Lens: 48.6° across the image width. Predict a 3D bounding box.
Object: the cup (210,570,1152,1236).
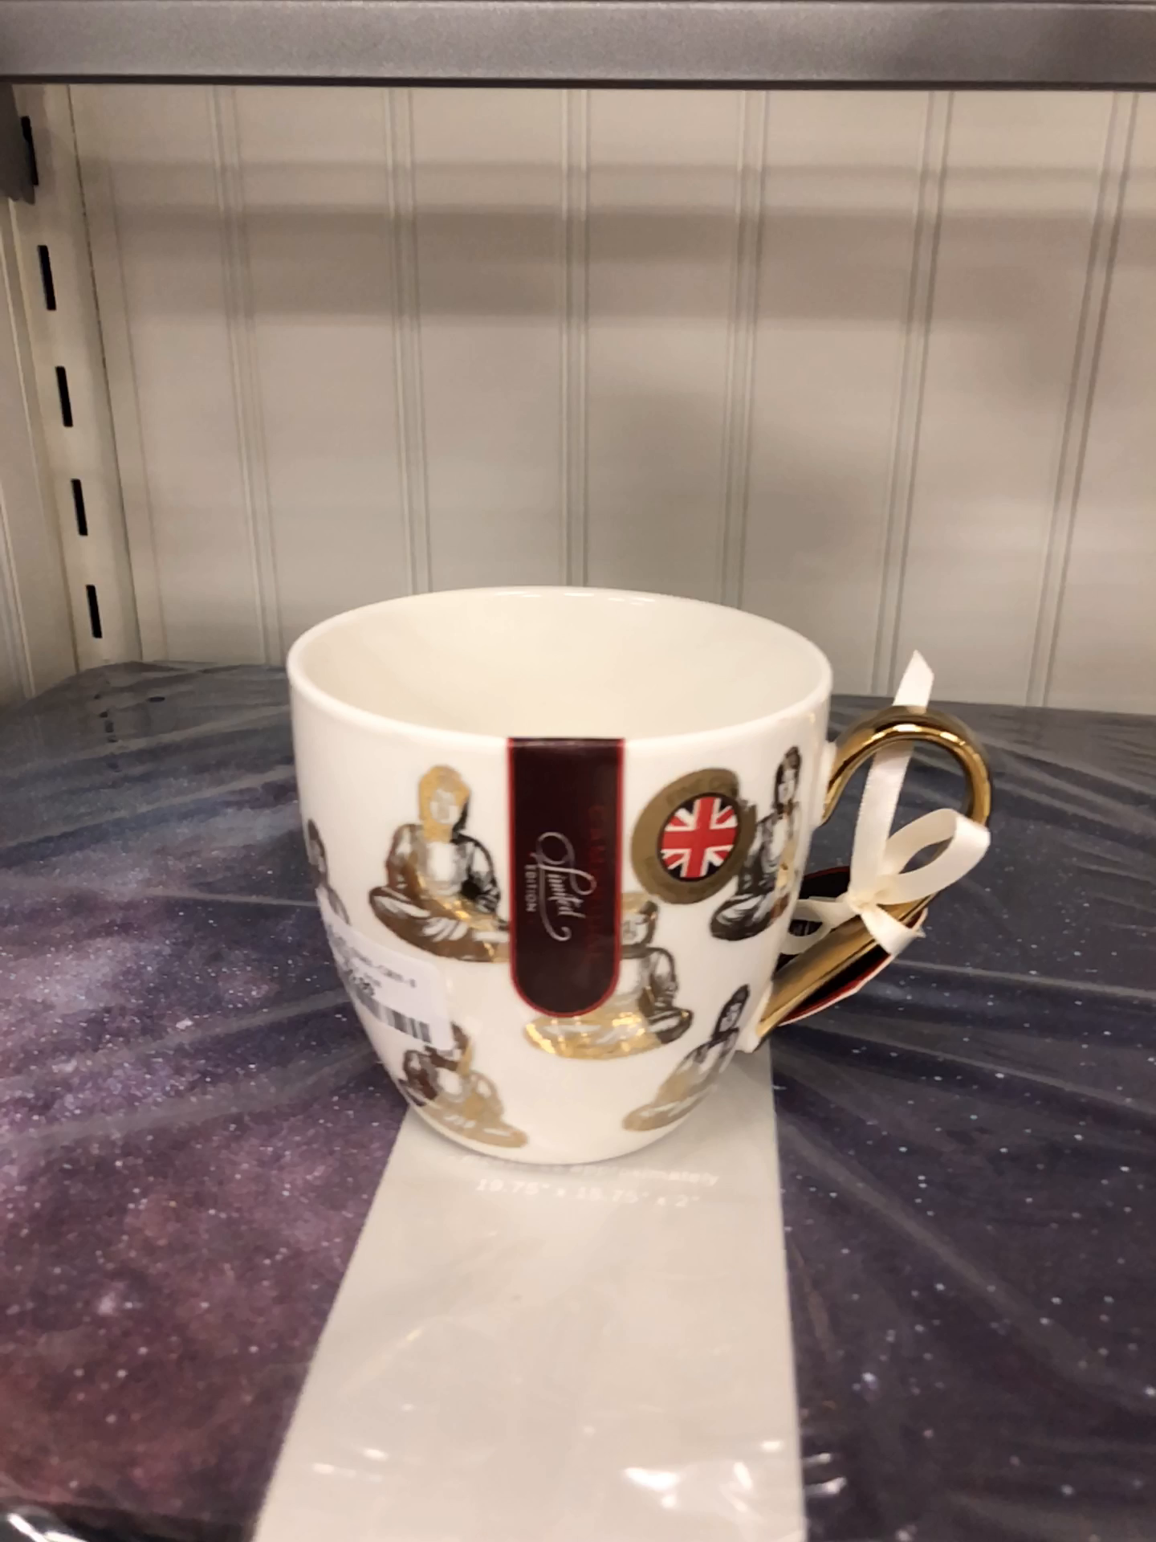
[{"bbox_3d":[0.015,0.018,0.249,0.137,0.089,0.101,1,23,0],"label":"cup"}]
